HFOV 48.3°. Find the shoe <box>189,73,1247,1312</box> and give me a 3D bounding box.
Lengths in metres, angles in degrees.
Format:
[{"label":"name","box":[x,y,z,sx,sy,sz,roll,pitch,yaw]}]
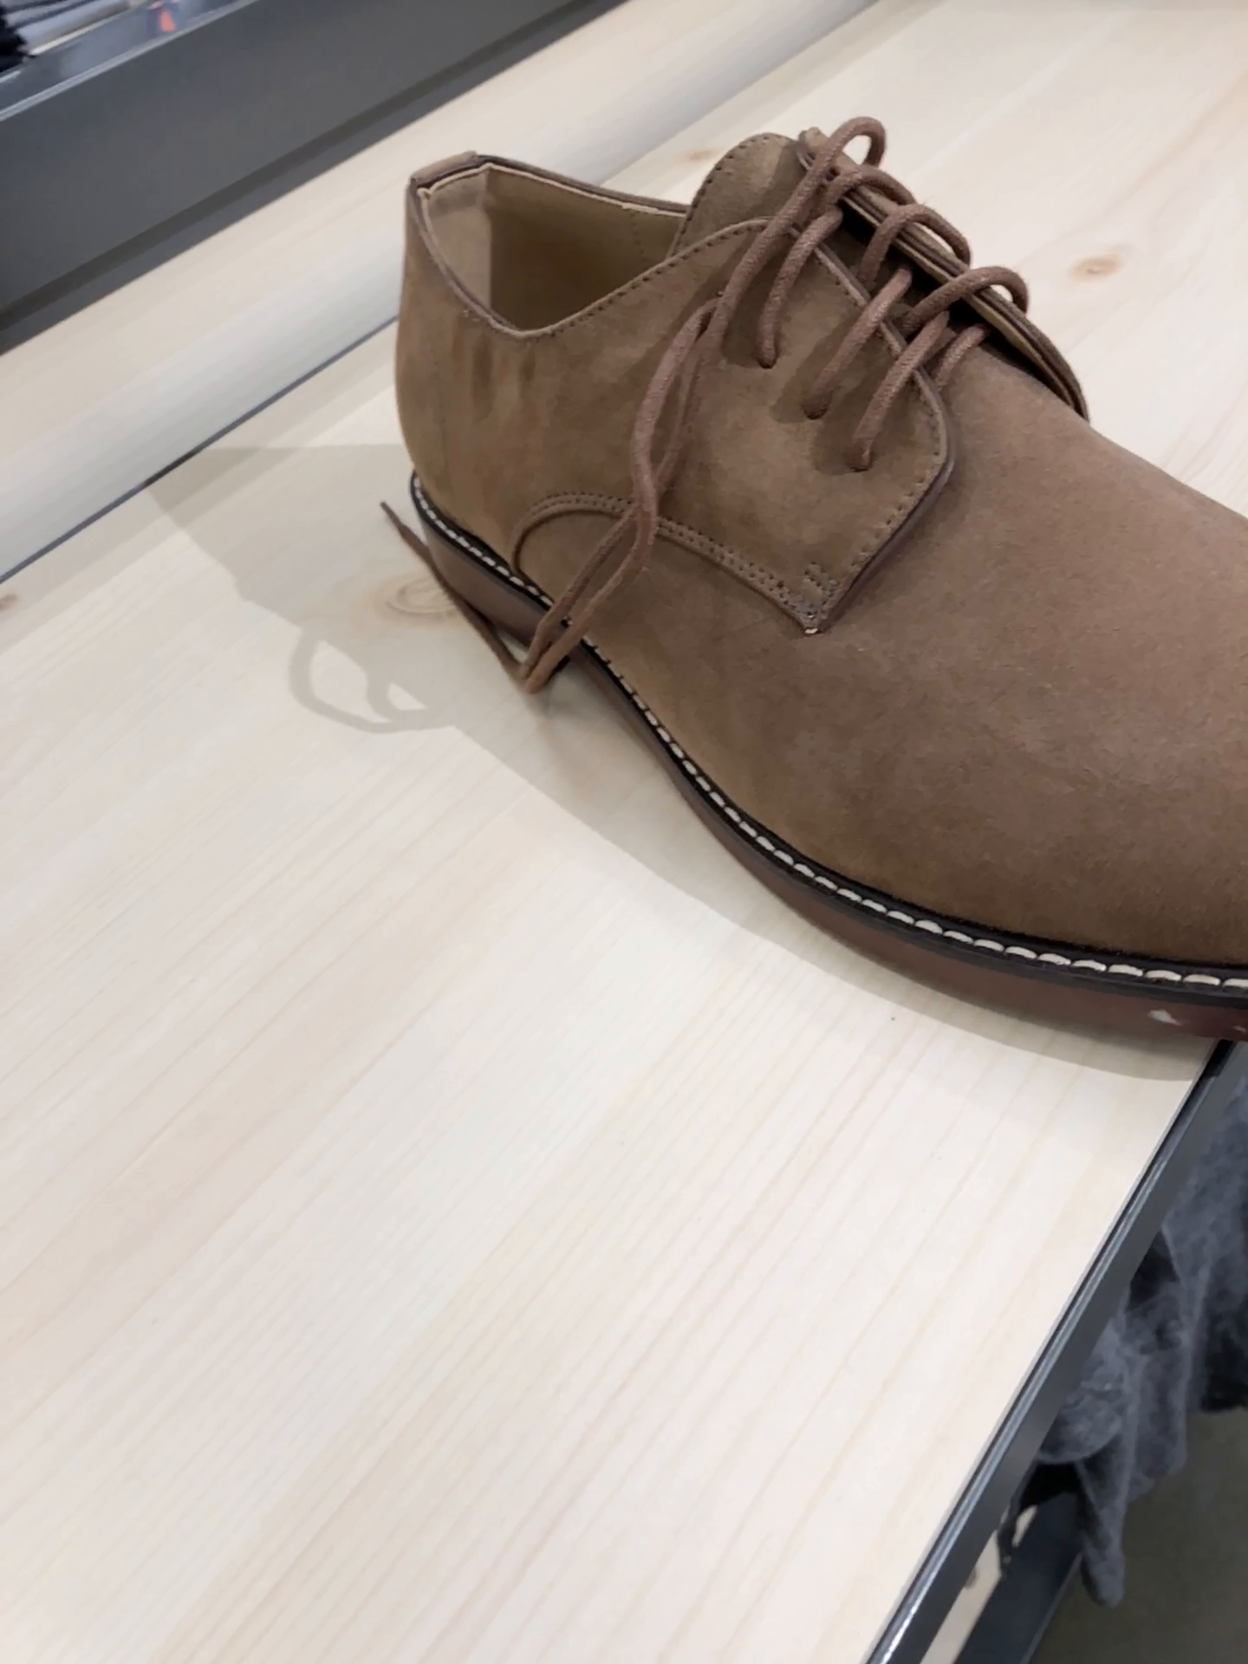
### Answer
[{"label":"shoe","box":[0.038,-0.066,0.303,0.120,0.110,0.301,-33,47,-19]}]
